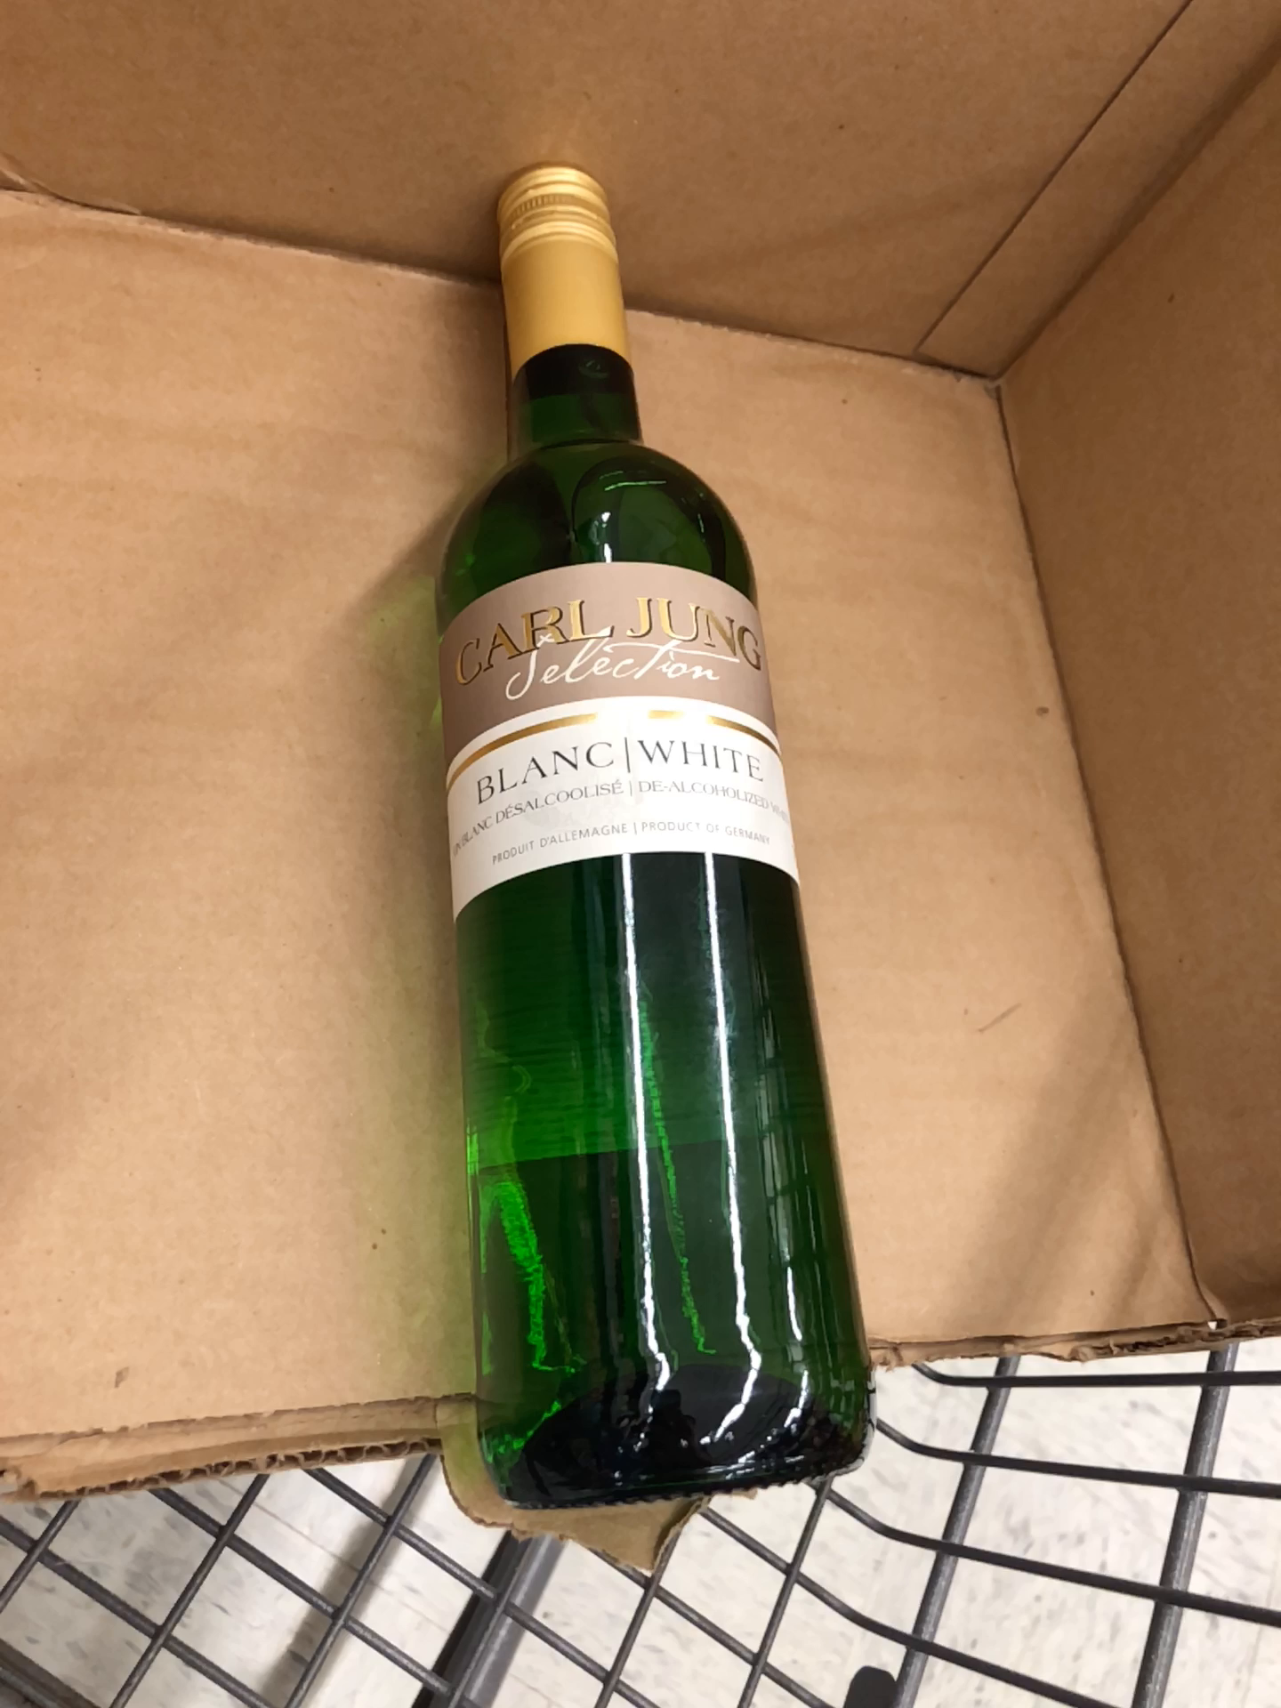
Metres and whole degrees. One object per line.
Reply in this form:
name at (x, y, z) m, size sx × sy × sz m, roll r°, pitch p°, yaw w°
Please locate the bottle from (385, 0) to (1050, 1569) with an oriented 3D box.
bottle at (-0.006, -0.044, 0.298) m, size 0.080 × 0.100 × 0.331 m, roll -1°, pitch 70°, yaw -13°
